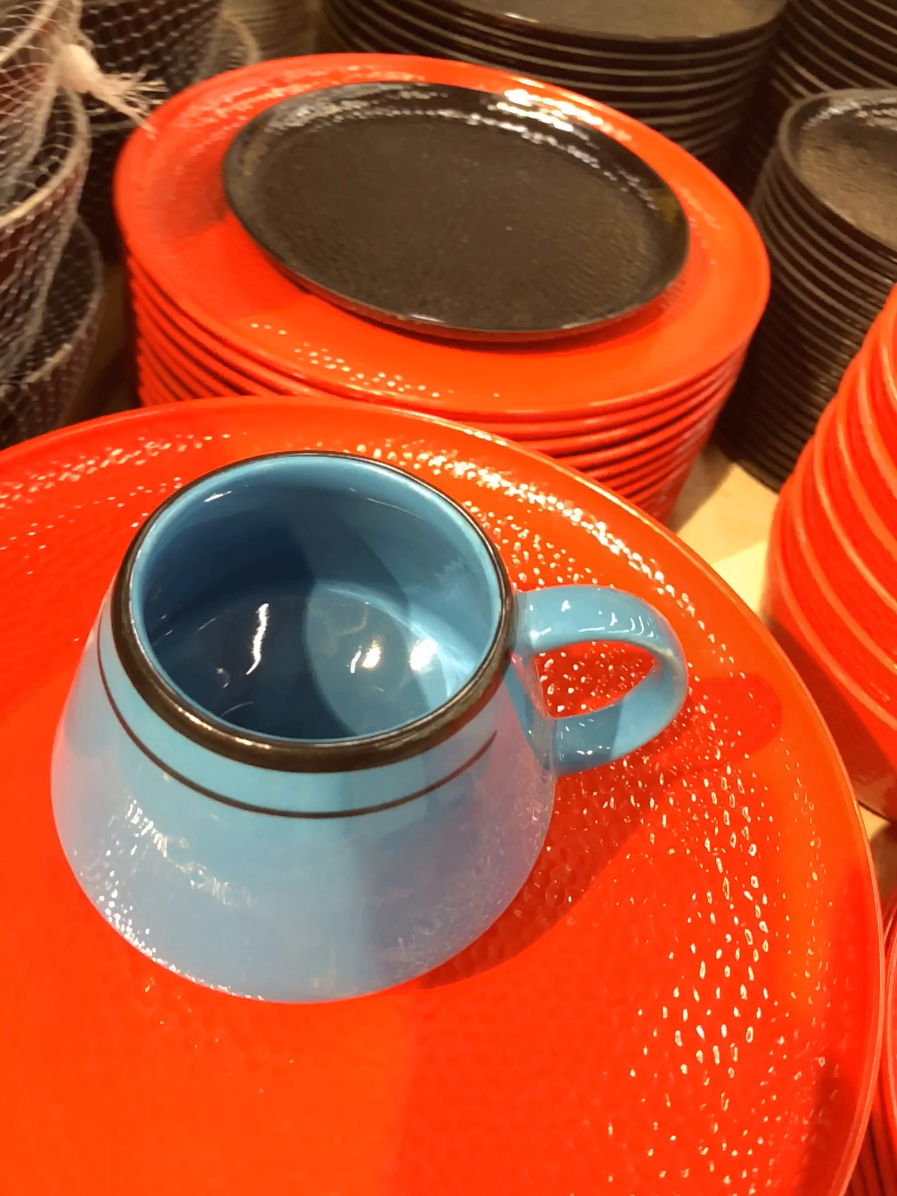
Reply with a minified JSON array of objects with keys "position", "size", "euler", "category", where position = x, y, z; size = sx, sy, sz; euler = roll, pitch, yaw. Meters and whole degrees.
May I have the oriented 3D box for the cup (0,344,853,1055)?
[{"position":[-0.018,0.017,0.215],"size":[0.140,0.089,0.111],"euler":[-2,50,-12],"category":"cup"}]
